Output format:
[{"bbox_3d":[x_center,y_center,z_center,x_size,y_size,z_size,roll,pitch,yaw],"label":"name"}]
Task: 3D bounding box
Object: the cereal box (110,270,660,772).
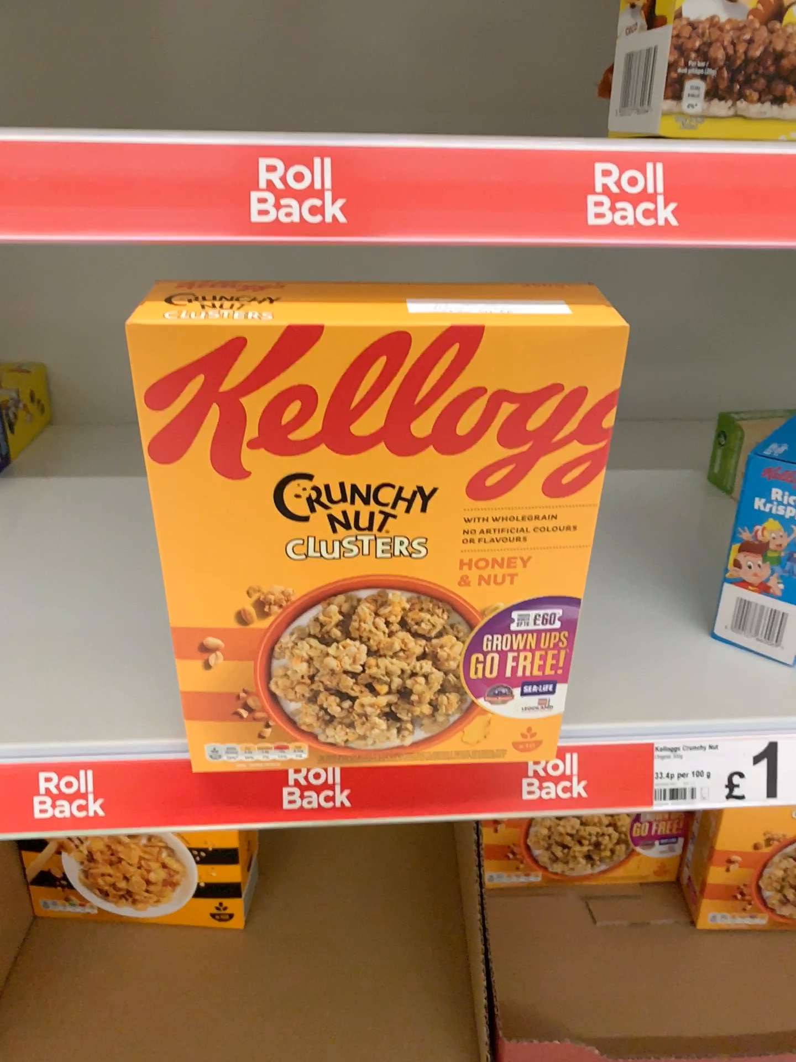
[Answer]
[{"bbox_3d":[-0.007,0.003,0.382,0.200,0.228,0.061,-1,31,-4],"label":"cereal box"}]
